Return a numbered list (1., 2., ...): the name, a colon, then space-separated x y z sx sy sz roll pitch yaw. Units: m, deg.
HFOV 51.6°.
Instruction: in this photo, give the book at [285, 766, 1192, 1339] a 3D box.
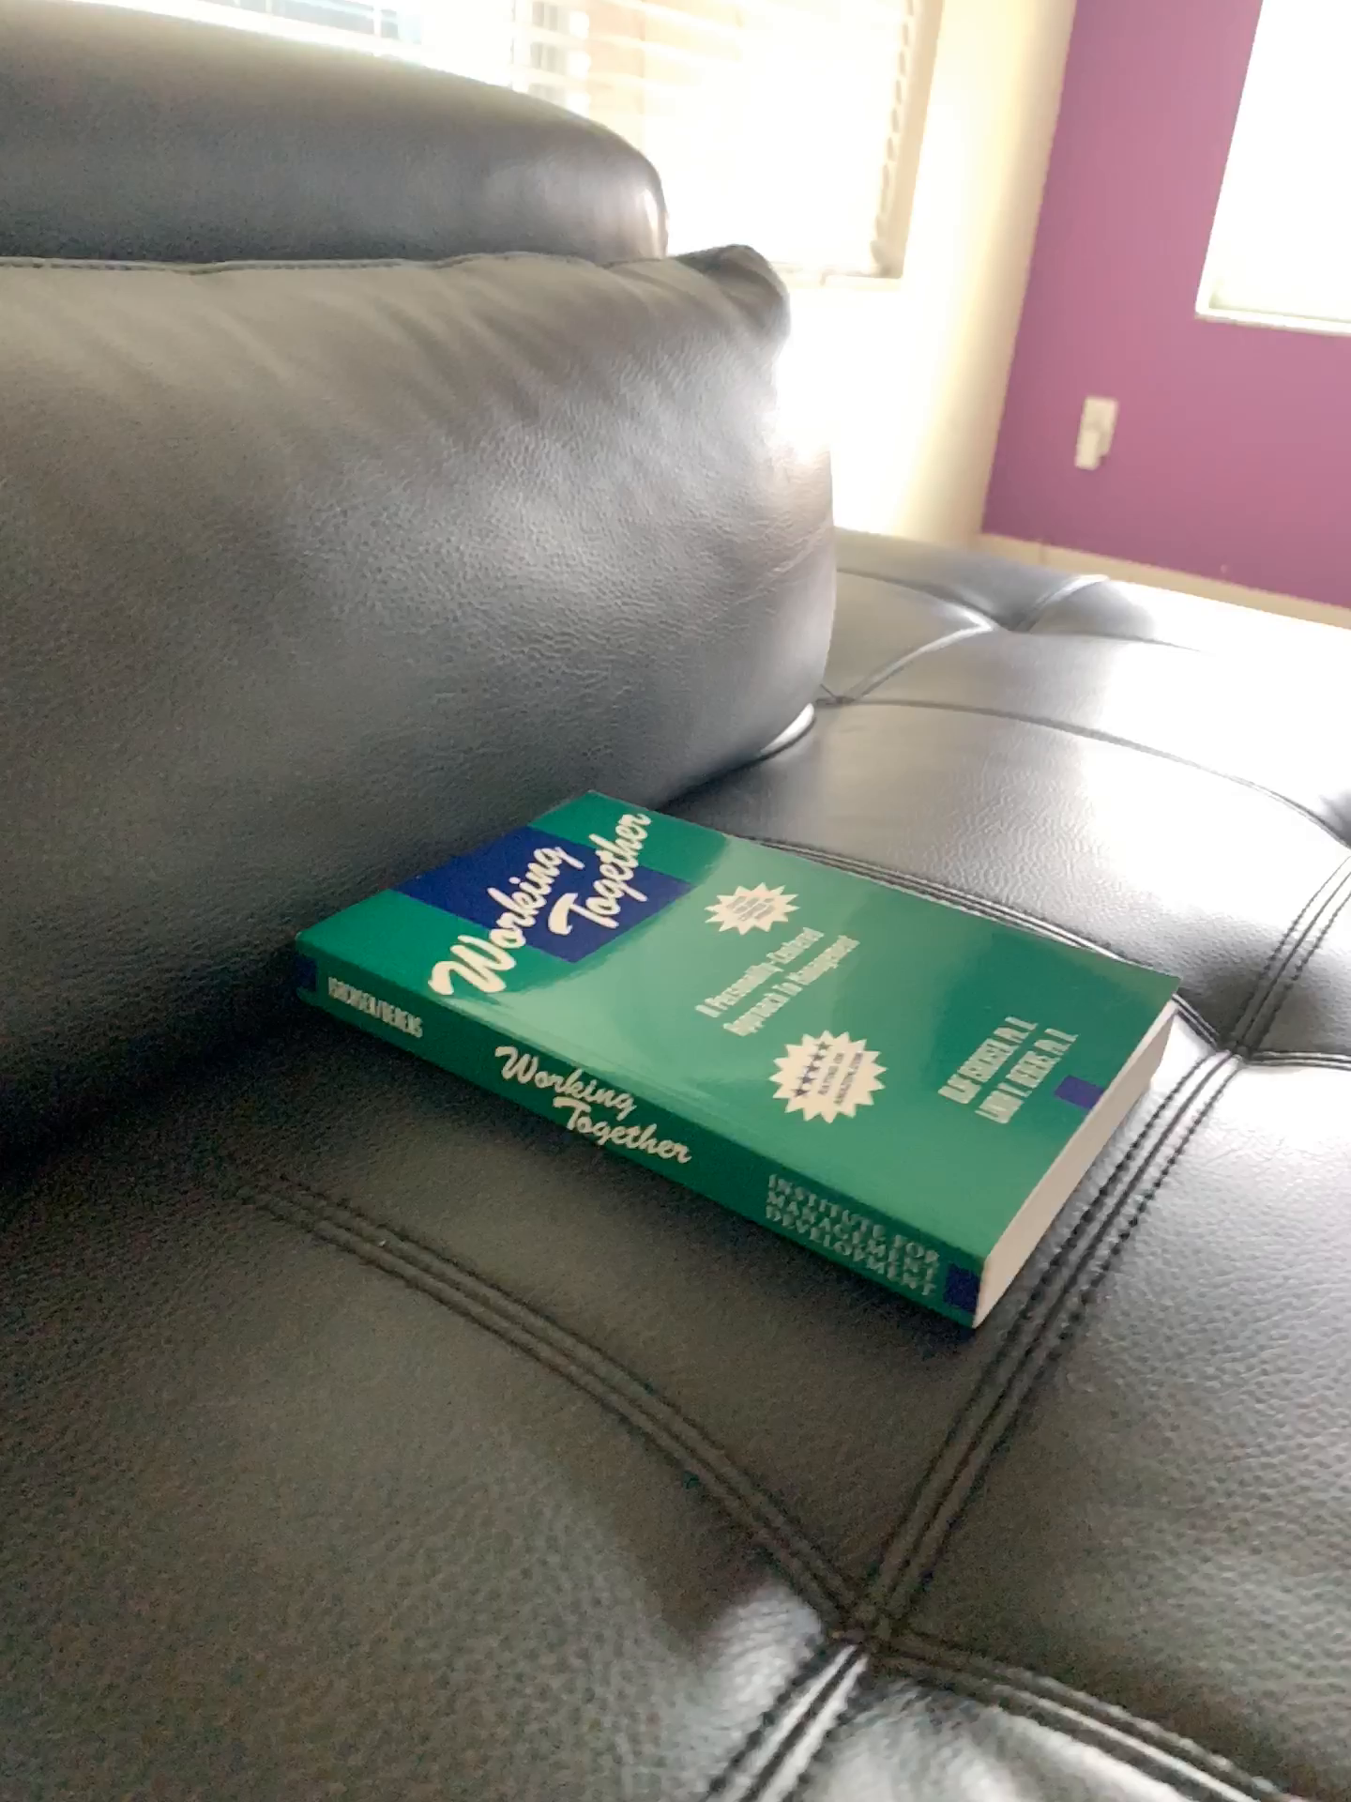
1. book: 0.016 0.023 0.399 0.216 0.033 0.138 21 30 29
